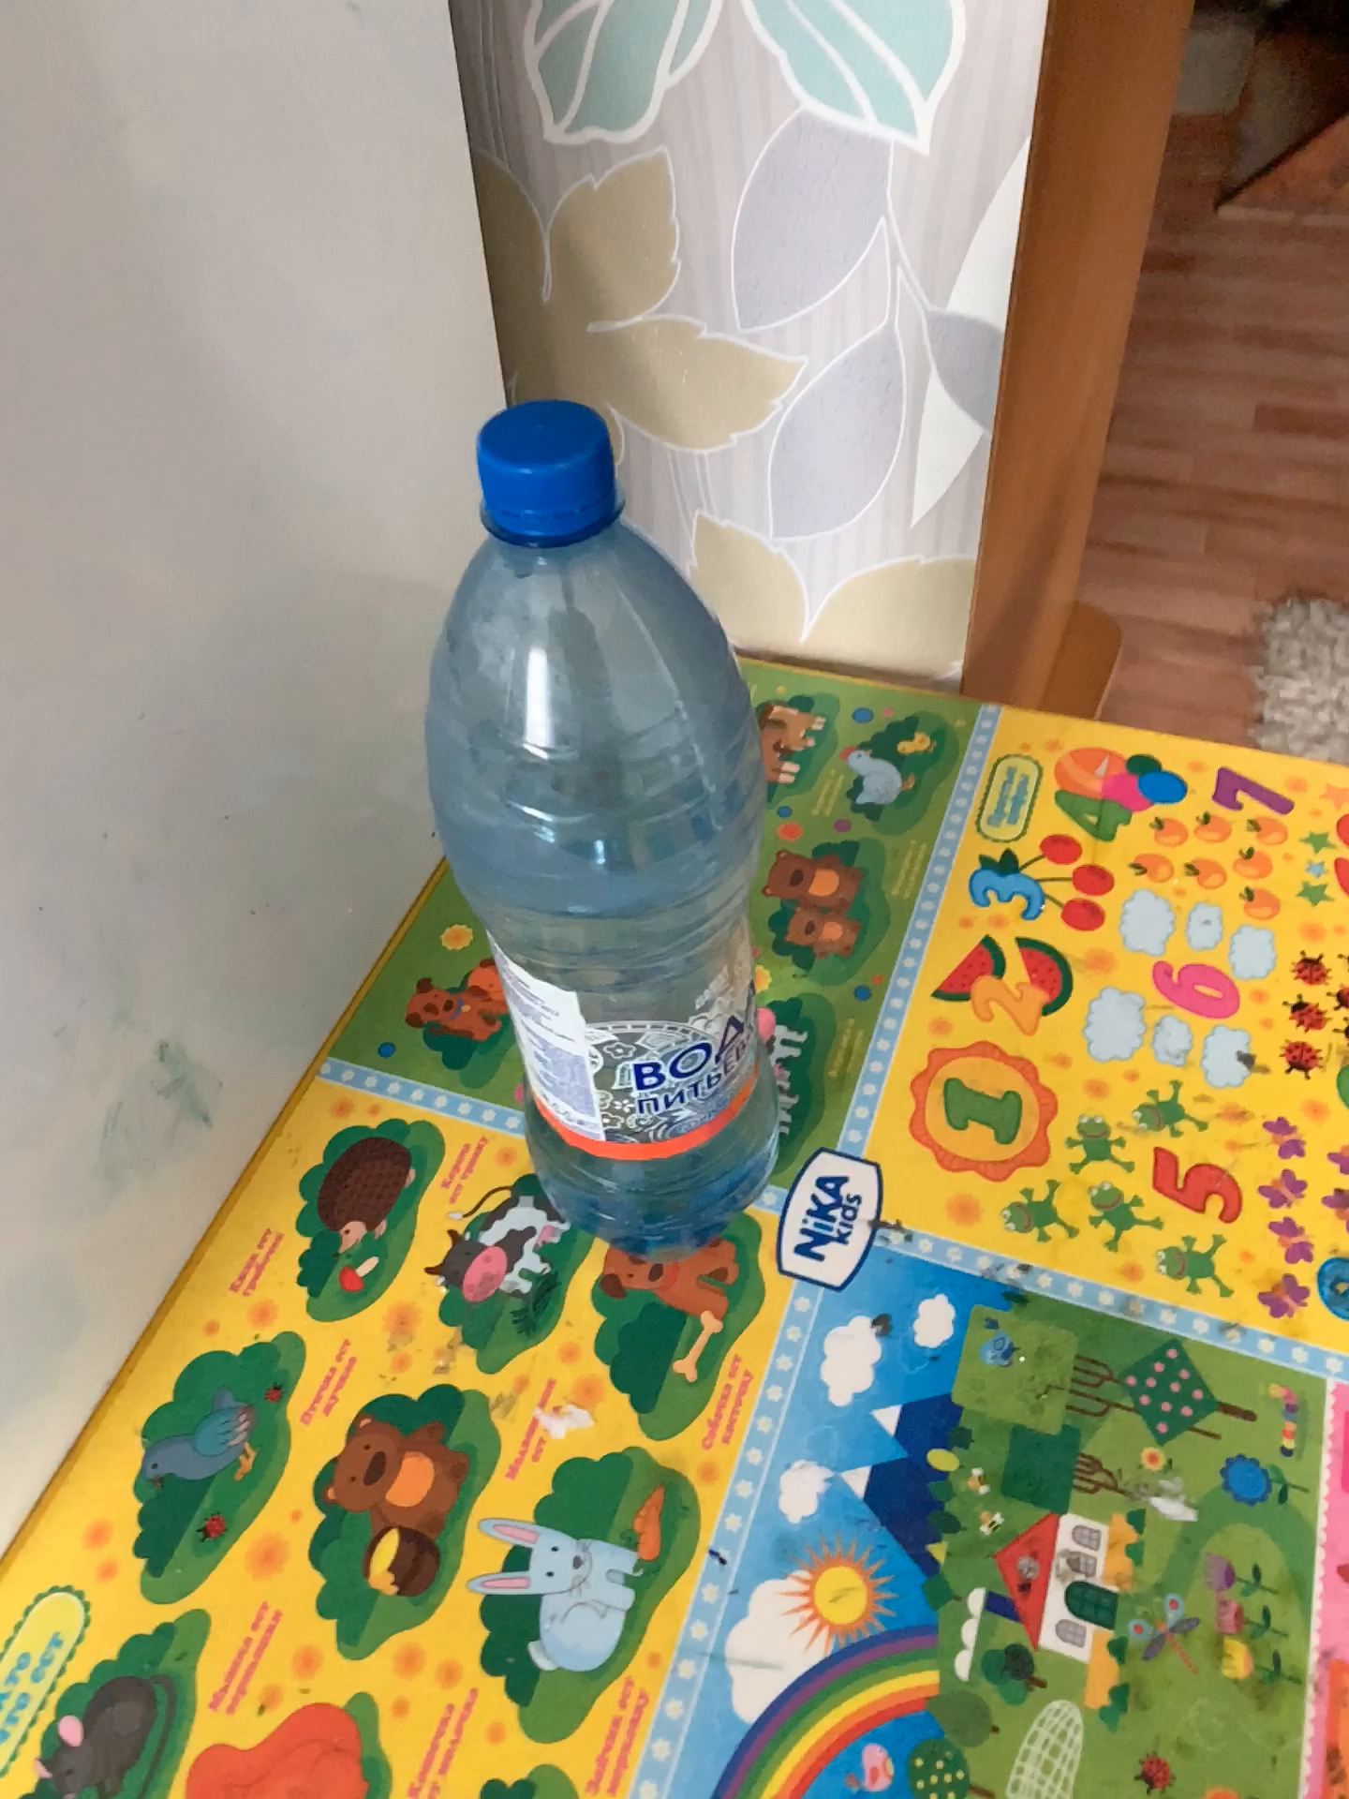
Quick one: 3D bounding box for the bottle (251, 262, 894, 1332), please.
[{"bbox_3d":[-0.013,-0.003,0.420,0.100,0.317,0.101,-2,49,3],"label":"bottle"}]
